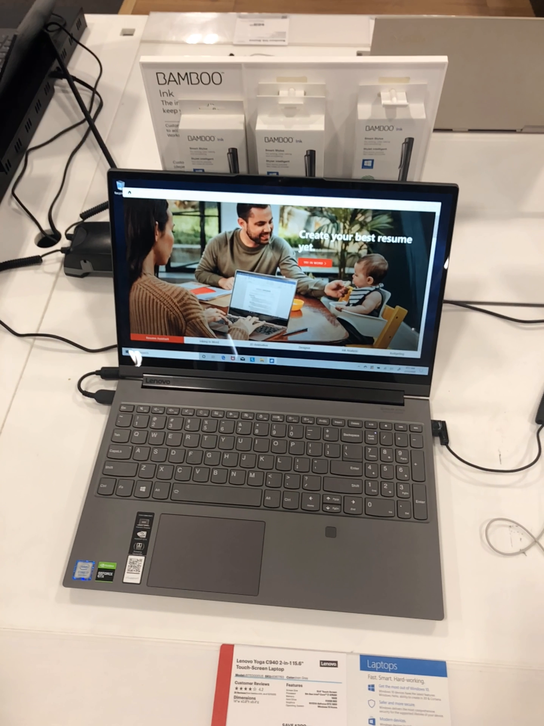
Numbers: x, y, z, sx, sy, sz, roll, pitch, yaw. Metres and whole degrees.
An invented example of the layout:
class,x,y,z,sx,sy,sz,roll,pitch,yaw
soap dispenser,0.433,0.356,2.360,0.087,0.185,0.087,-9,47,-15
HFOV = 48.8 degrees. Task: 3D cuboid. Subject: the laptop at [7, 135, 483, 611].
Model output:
class,x,y,z,sx,sy,sz,roll,pitch,yaw
laptop,-0.007,0.001,0.574,0.336,0.169,0.375,4,62,3
